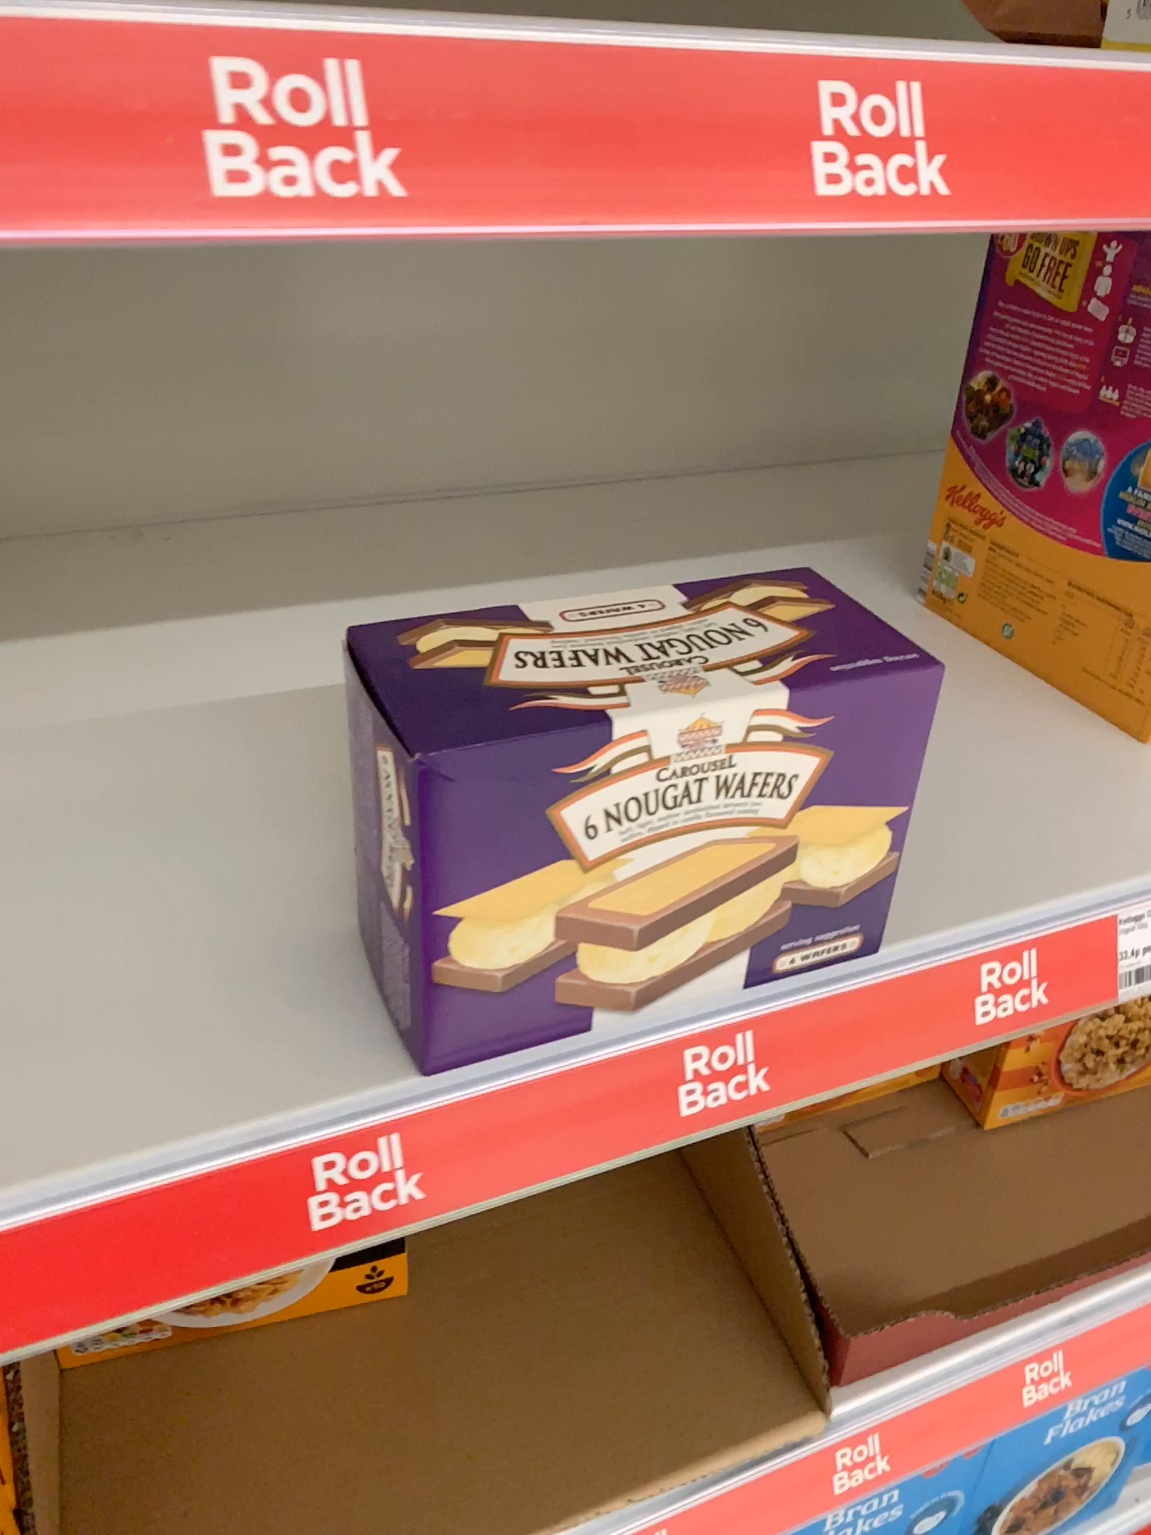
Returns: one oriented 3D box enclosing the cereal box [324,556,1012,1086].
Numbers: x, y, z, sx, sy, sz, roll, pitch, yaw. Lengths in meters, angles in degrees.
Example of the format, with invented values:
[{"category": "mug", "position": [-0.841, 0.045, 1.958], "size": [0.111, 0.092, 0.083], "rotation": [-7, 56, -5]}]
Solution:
[{"category": "cereal box", "position": [0.025, 0.008, 0.389], "size": [0.190, 0.109, 0.091], "rotation": [-10, 34, -21]}]
